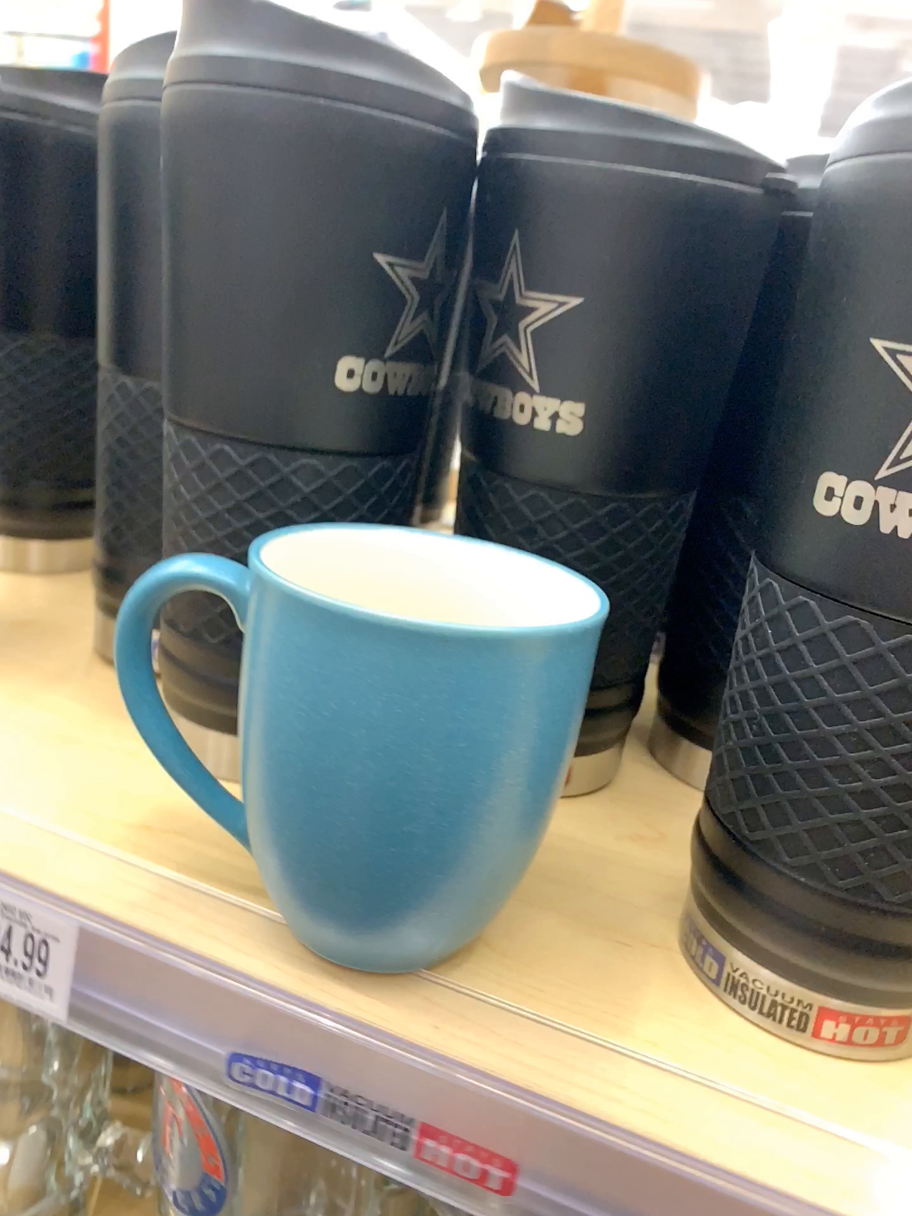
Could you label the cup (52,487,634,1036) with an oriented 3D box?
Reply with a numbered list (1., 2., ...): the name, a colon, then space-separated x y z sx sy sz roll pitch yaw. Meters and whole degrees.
1. cup: -0.023 0.028 0.243 0.116 0.084 0.090 12 18 9
